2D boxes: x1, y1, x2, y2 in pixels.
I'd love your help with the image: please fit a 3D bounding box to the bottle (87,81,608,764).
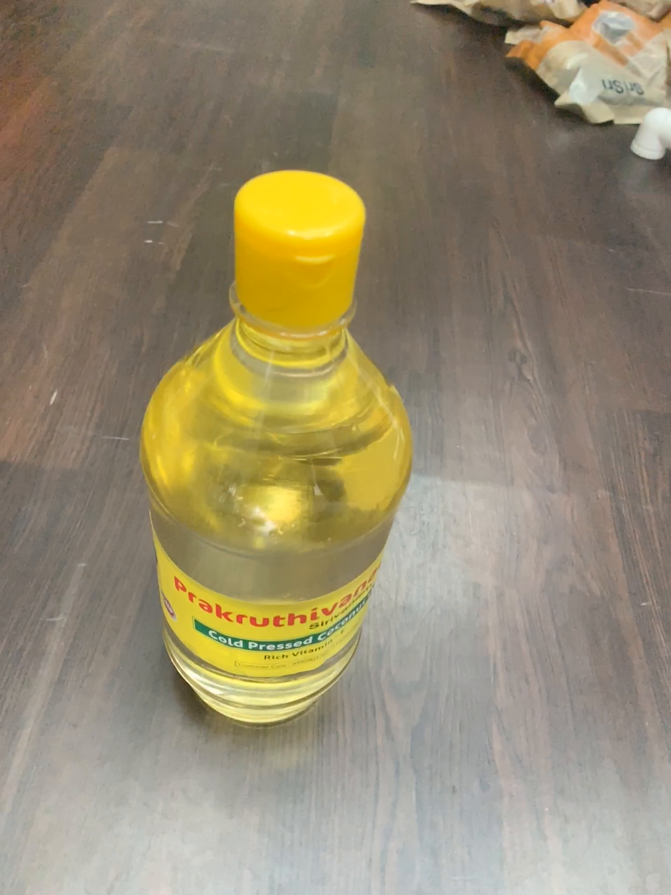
[{"bbox_3d":[-0.015,0.011,0.223,0.090,0.209,0.090,4,48,-5],"label":"bottle"}]
